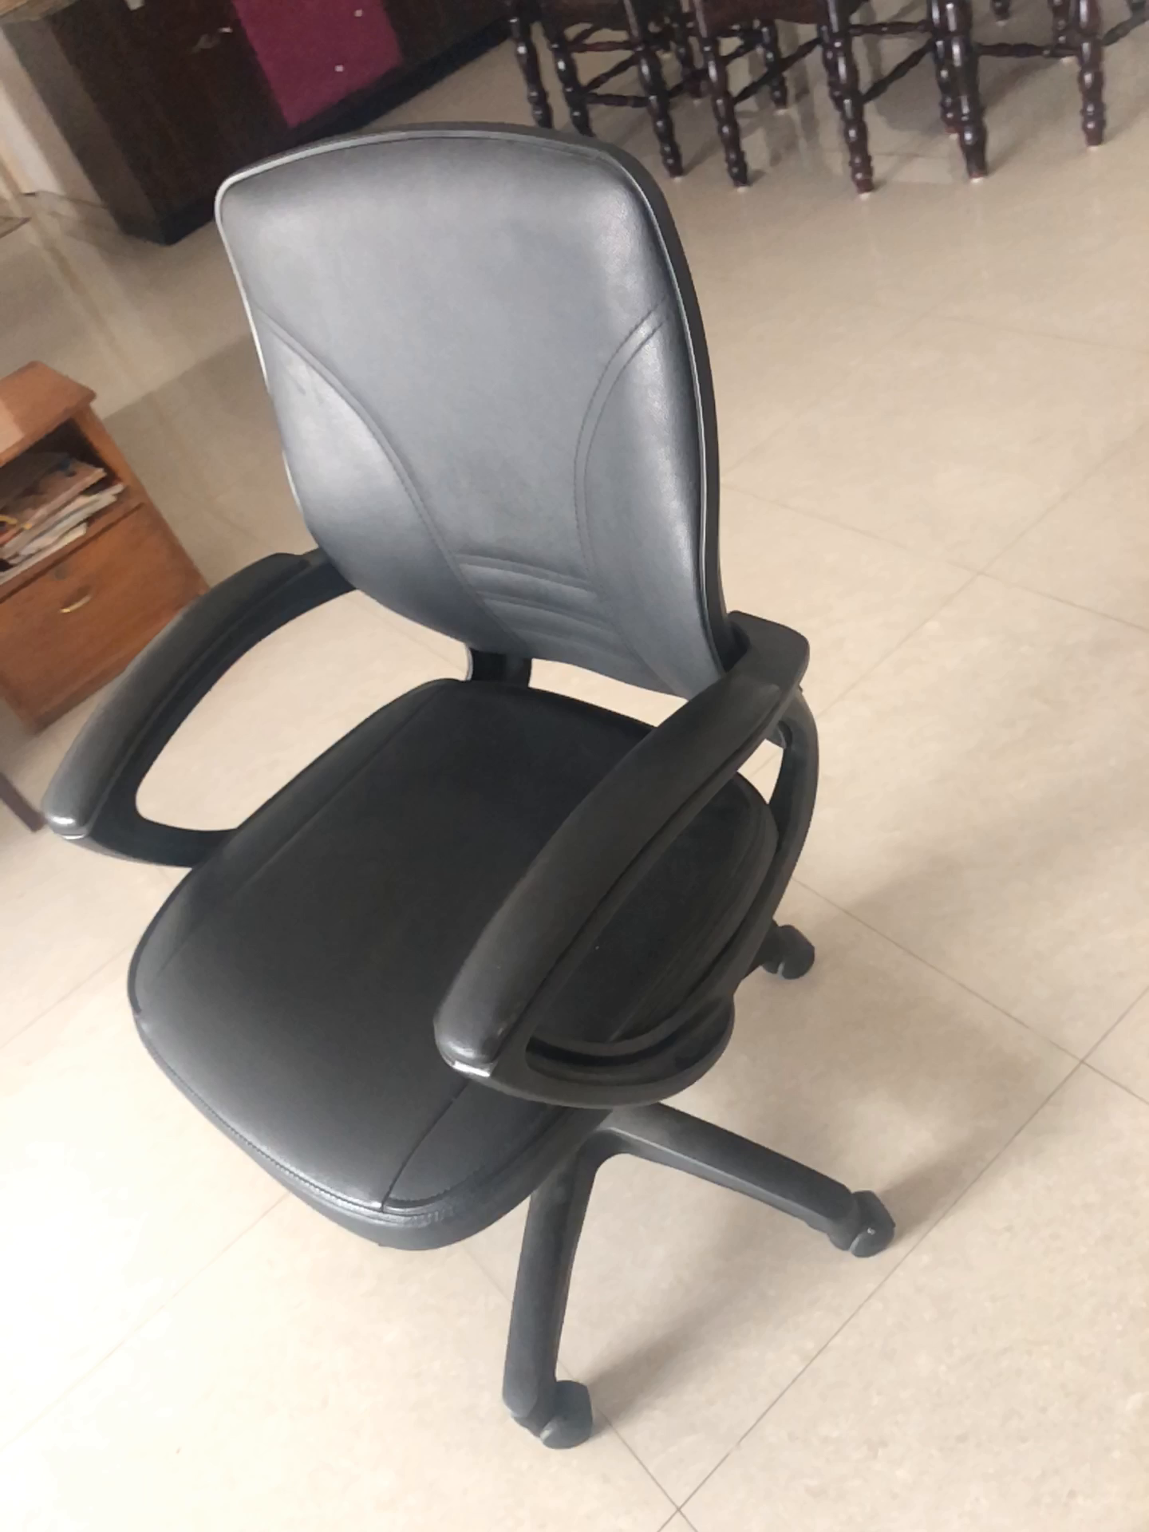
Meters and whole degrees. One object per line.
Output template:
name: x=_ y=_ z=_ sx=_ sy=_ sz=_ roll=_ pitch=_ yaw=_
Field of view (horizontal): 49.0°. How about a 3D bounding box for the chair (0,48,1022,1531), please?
chair: x=-0.147 y=0.063 z=1.077 sx=0.704 sy=0.953 sz=0.631 roll=22 pitch=59 yaw=41
